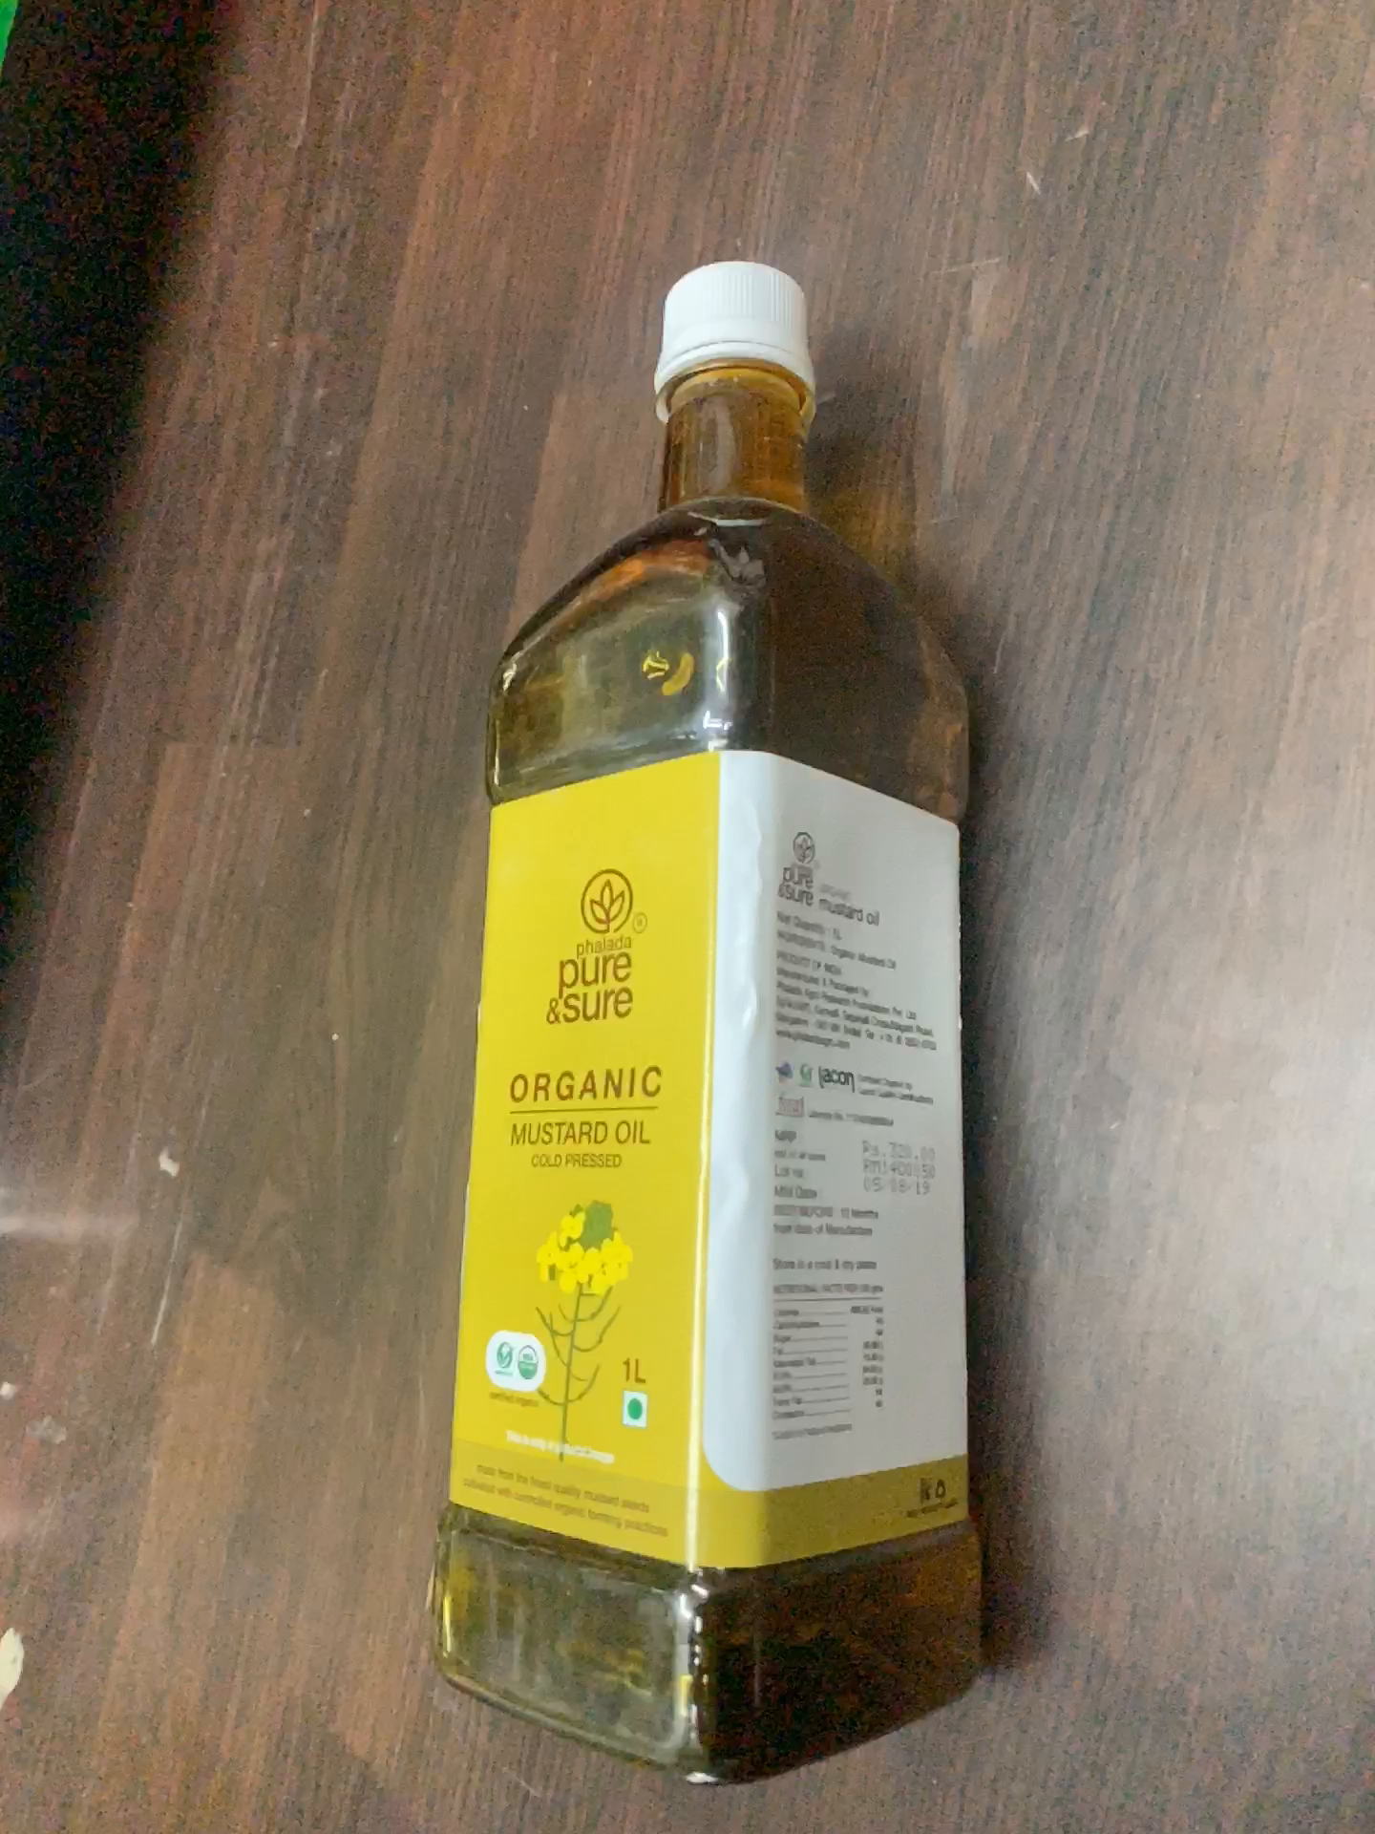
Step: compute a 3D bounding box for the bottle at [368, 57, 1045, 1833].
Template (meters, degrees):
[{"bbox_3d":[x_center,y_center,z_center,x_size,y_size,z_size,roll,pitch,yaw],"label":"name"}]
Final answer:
[{"bbox_3d":[0.009,0.002,0.261,0.080,0.080,0.270,-8,75,43],"label":"bottle"}]
